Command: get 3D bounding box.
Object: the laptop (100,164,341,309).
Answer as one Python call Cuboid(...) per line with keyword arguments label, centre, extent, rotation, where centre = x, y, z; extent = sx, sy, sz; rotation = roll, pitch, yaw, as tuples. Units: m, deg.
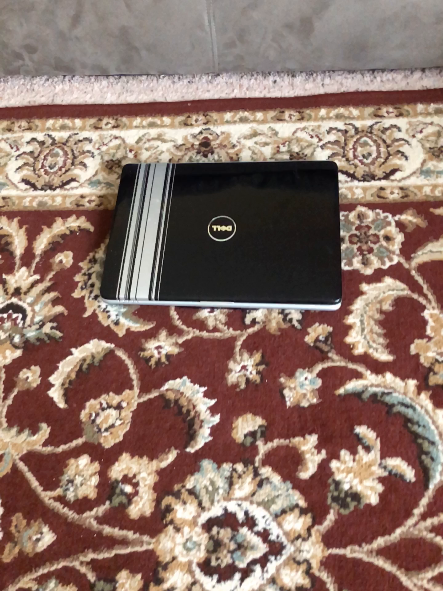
Cuboid(label="laptop", centre=(0.002, -0.100, 0.757), extent=(0.351, 0.015, 0.242), rotation=(2, 67, 7))
